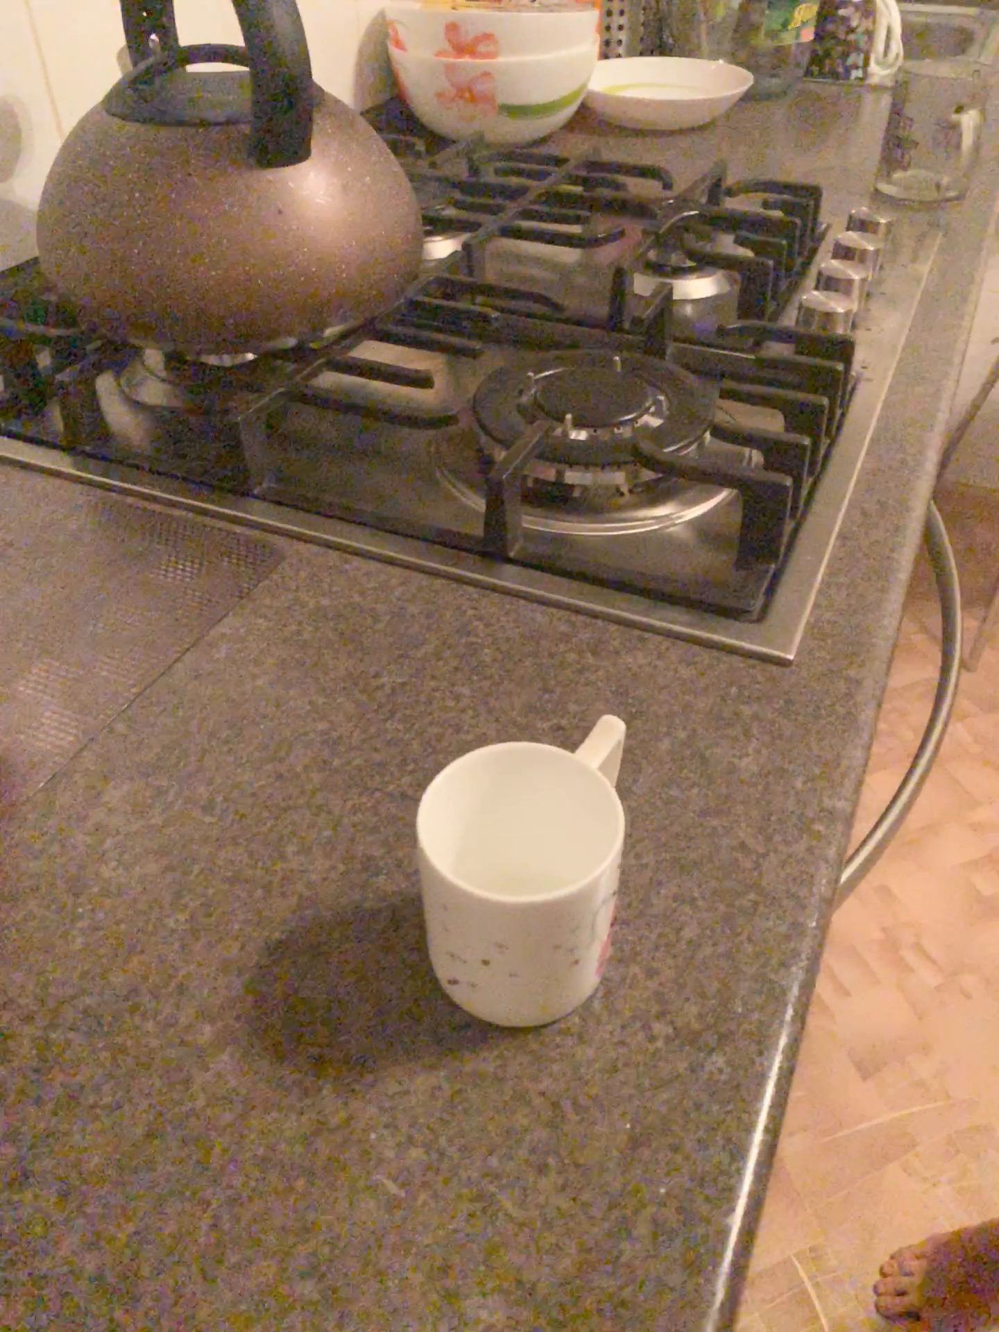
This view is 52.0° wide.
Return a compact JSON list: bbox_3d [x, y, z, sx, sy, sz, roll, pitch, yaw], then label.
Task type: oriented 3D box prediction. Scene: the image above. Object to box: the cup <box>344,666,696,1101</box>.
[{"bbox_3d":[0.009,0.062,0.310,0.060,0.069,0.091,23,46,25],"label":"cup"}]
